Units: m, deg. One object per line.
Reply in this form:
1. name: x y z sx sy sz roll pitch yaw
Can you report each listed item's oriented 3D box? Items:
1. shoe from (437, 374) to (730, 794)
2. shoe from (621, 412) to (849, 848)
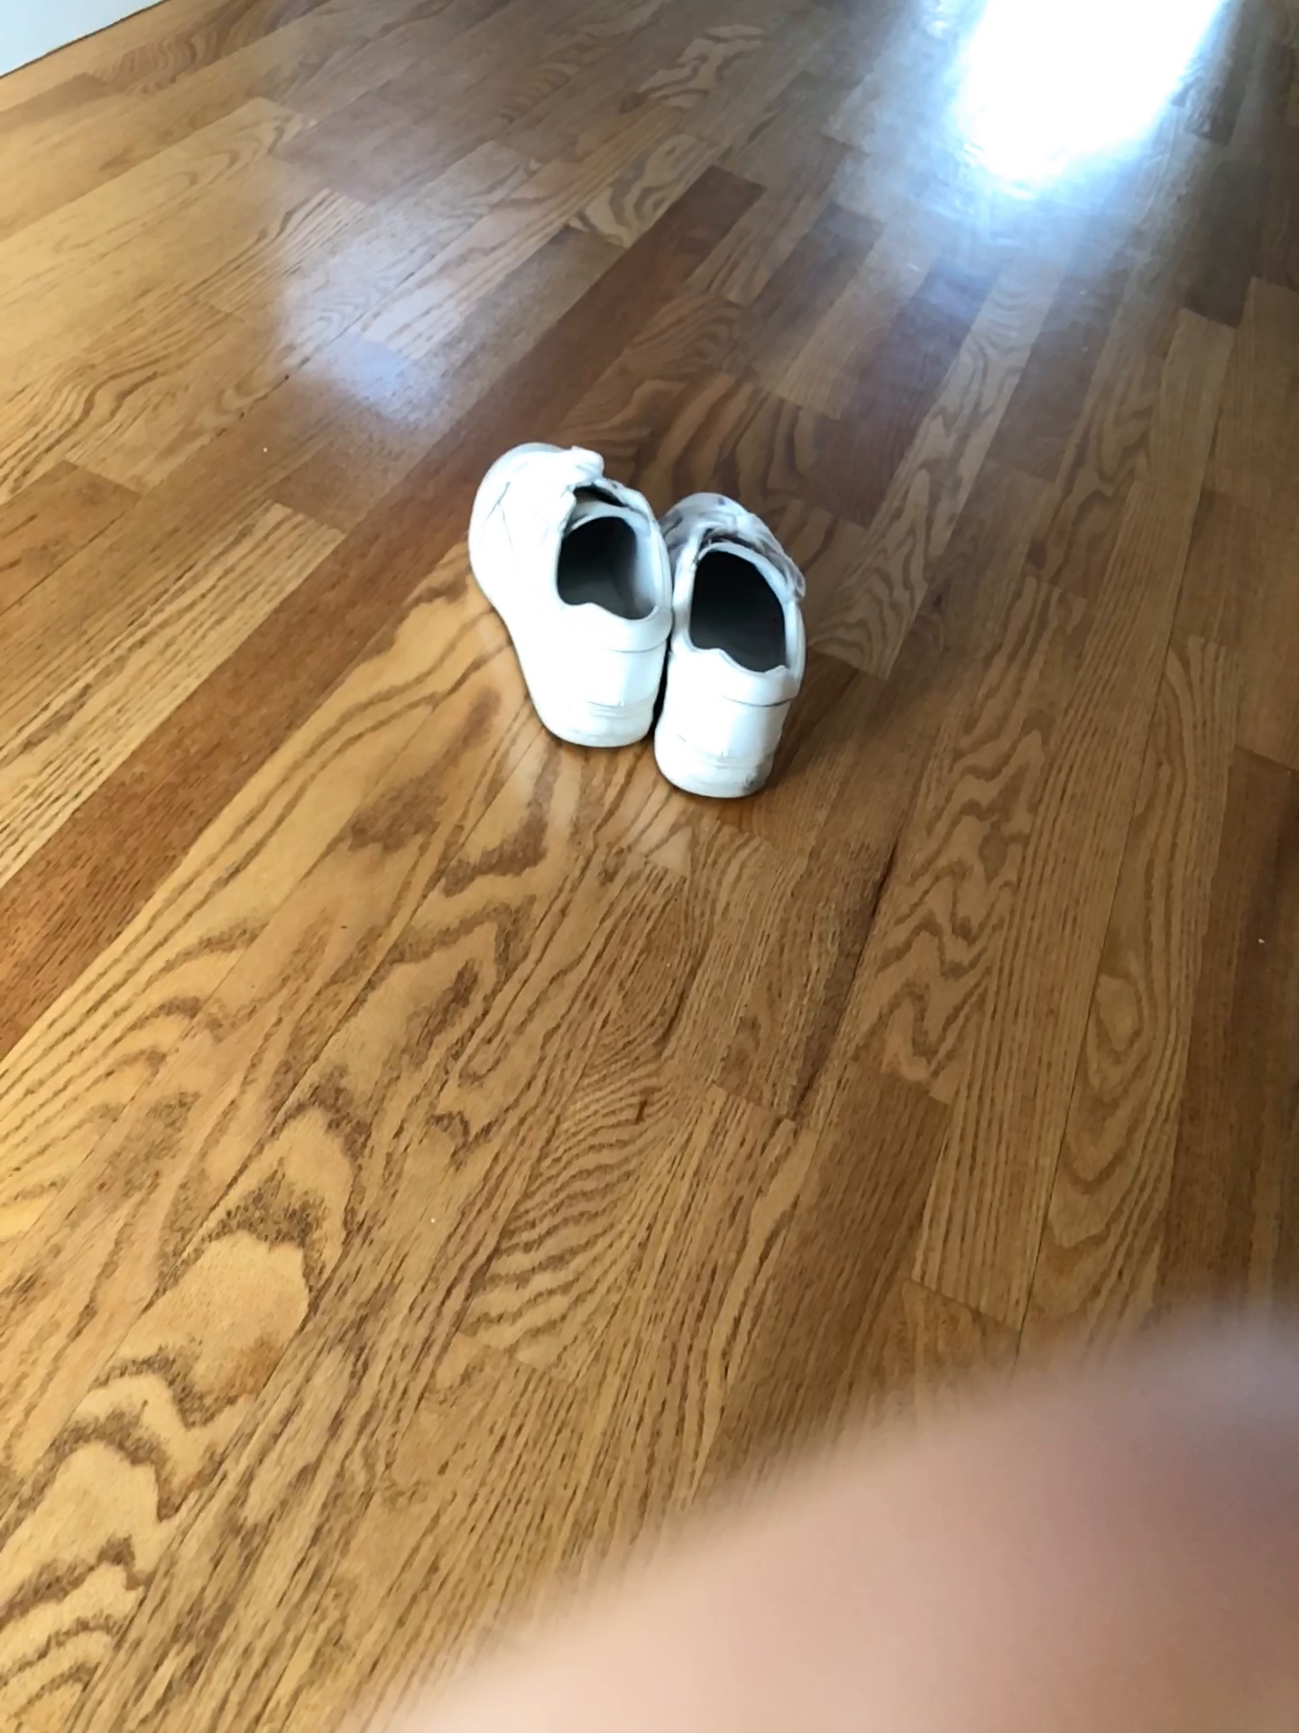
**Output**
1. shoe: -0.050 -0.179 0.880 0.103 0.104 0.261 -4 53 -20
2. shoe: 0.048 -0.152 0.884 0.102 0.106 0.261 10 49 -9
